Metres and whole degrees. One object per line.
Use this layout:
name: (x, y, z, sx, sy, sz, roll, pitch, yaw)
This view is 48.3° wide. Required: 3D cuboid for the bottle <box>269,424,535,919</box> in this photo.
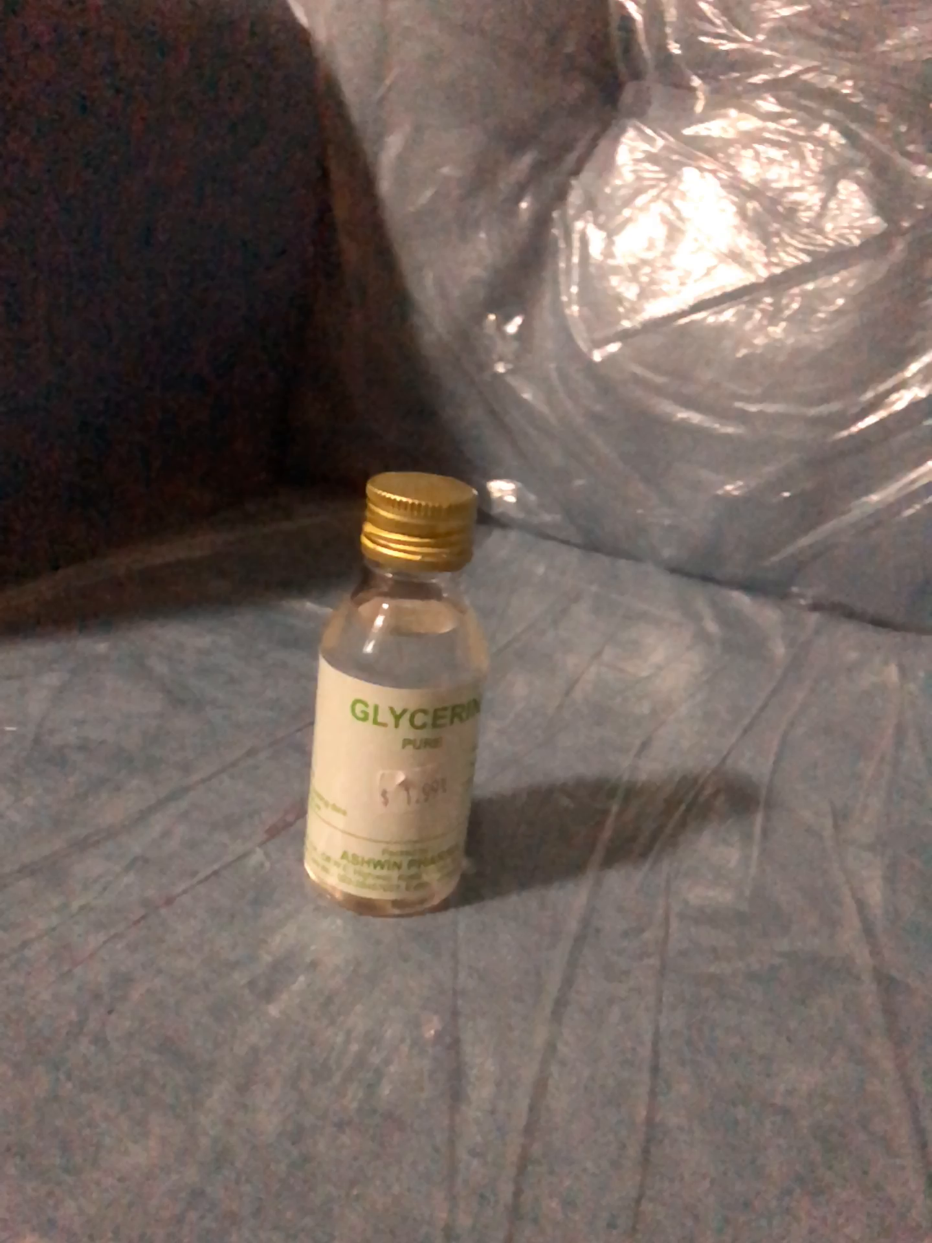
bottle: (-0.019, 0.011, 0.239, 0.050, 0.100, 0.050, 4, 23, -2)
